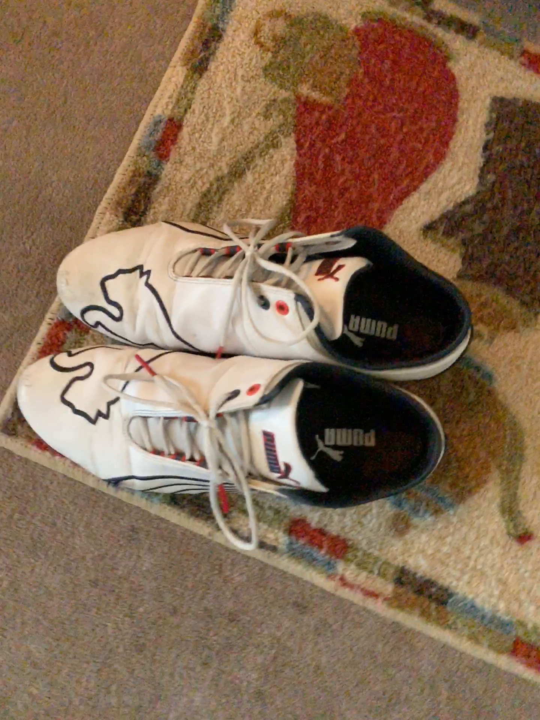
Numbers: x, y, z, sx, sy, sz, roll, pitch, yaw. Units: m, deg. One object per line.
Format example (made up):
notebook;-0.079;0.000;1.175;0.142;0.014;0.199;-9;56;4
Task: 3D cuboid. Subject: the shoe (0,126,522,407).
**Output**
shoe;-0.002;-0.050;0.375;0.290;0.107;0.100;12;81;-4

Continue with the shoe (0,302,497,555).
shoe;-0.023;0.045;0.356;0.290;0.107;0.100;8;82;-4
